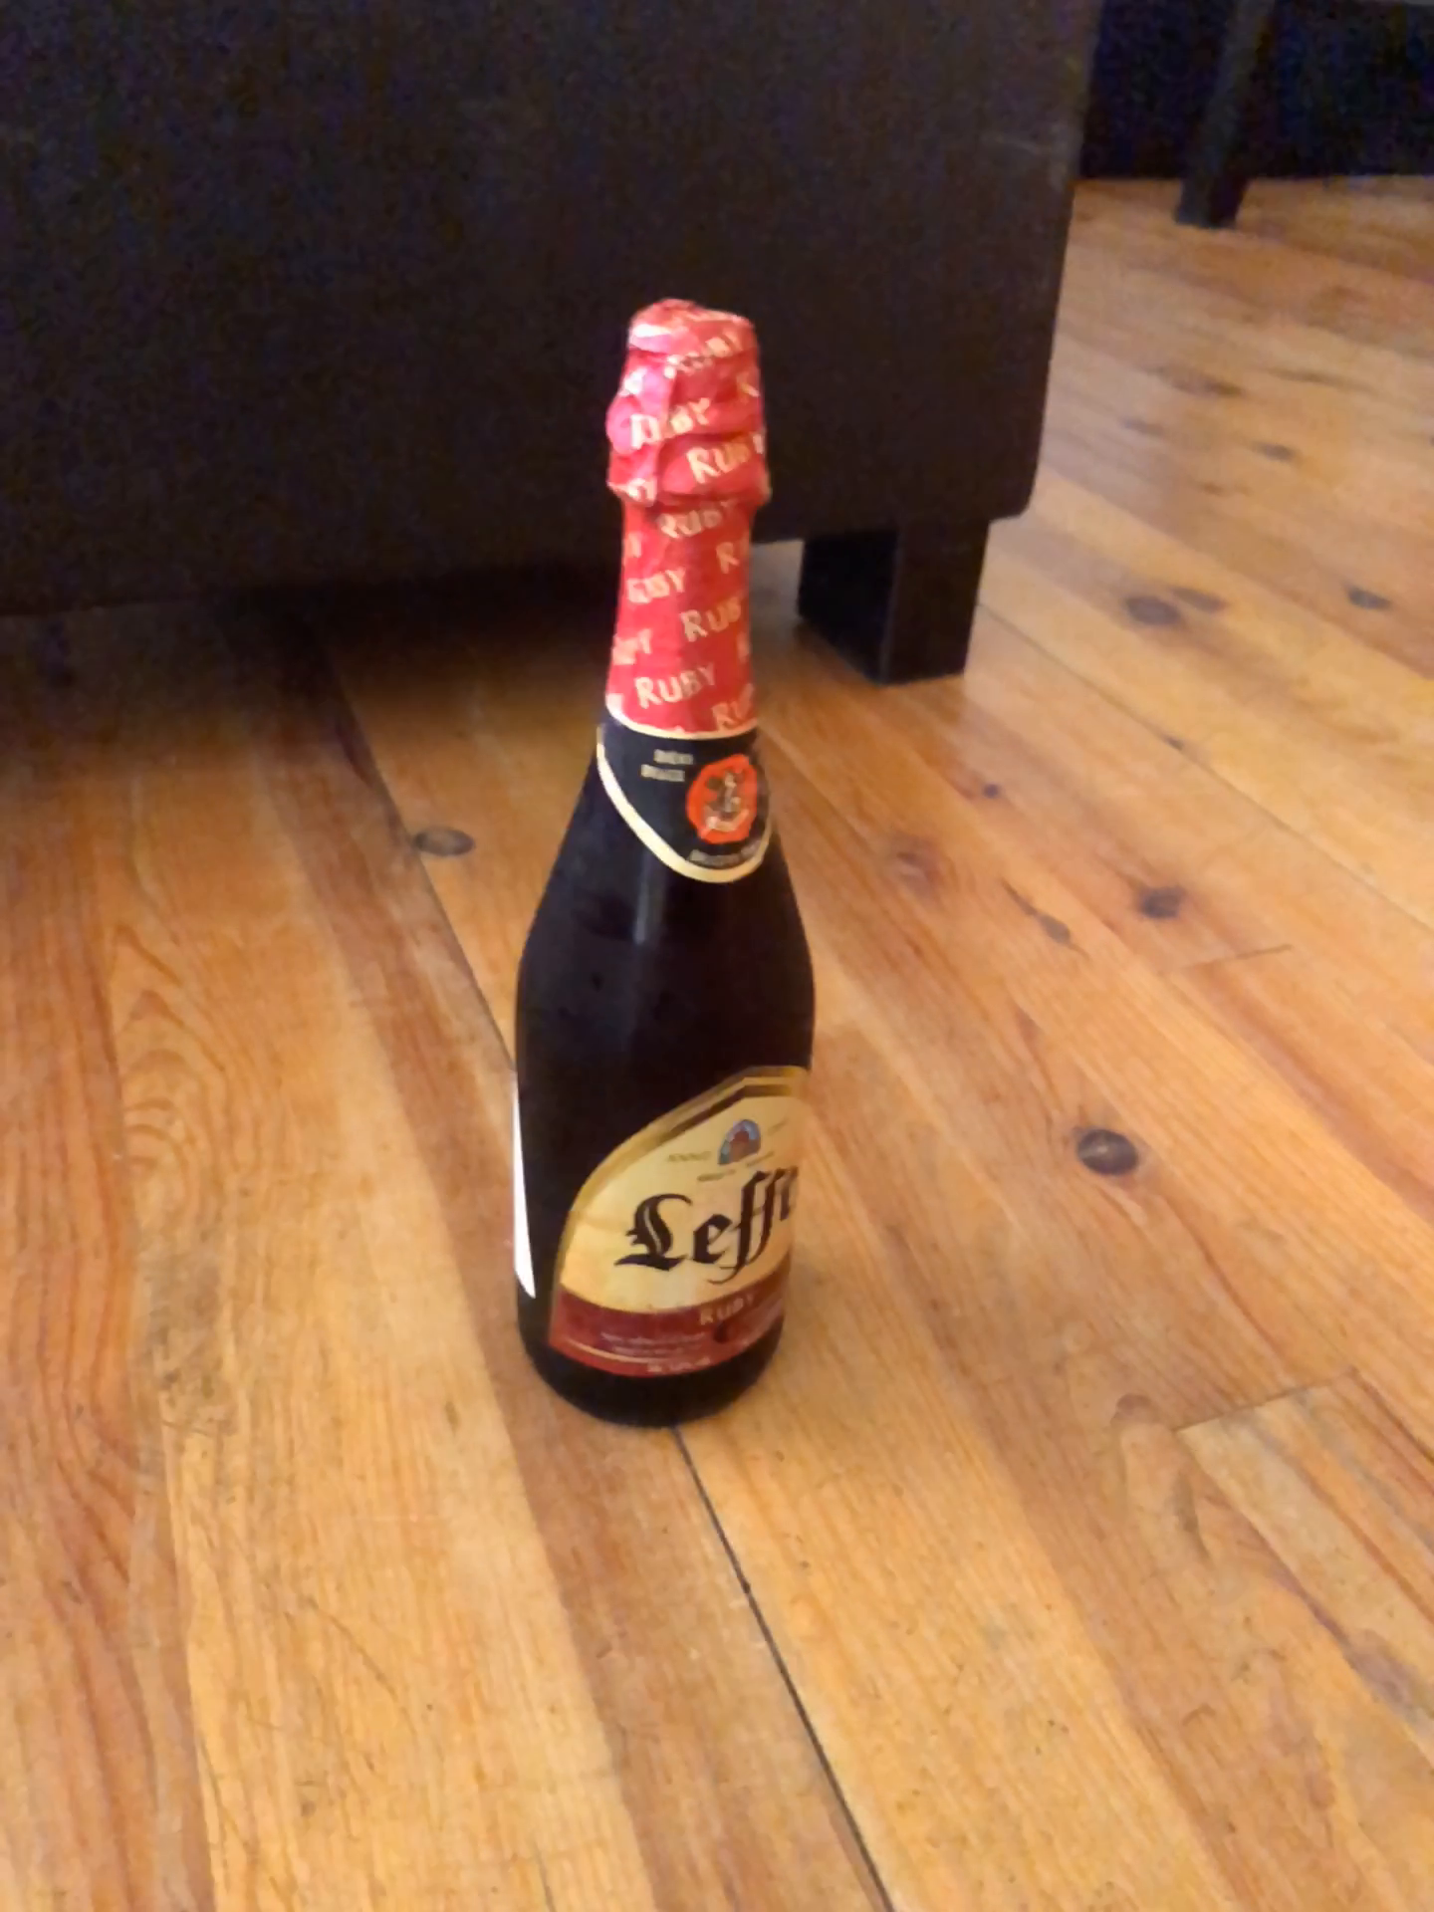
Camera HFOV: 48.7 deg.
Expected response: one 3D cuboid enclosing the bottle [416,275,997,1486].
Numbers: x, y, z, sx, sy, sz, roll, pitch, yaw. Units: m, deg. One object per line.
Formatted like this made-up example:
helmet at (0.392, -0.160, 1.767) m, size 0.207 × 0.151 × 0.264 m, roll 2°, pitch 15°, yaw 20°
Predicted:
bottle at (-0.011, -0.009, 0.405) m, size 0.090 × 0.288 × 0.090 m, roll 2°, pitch 32°, yaw -1°
